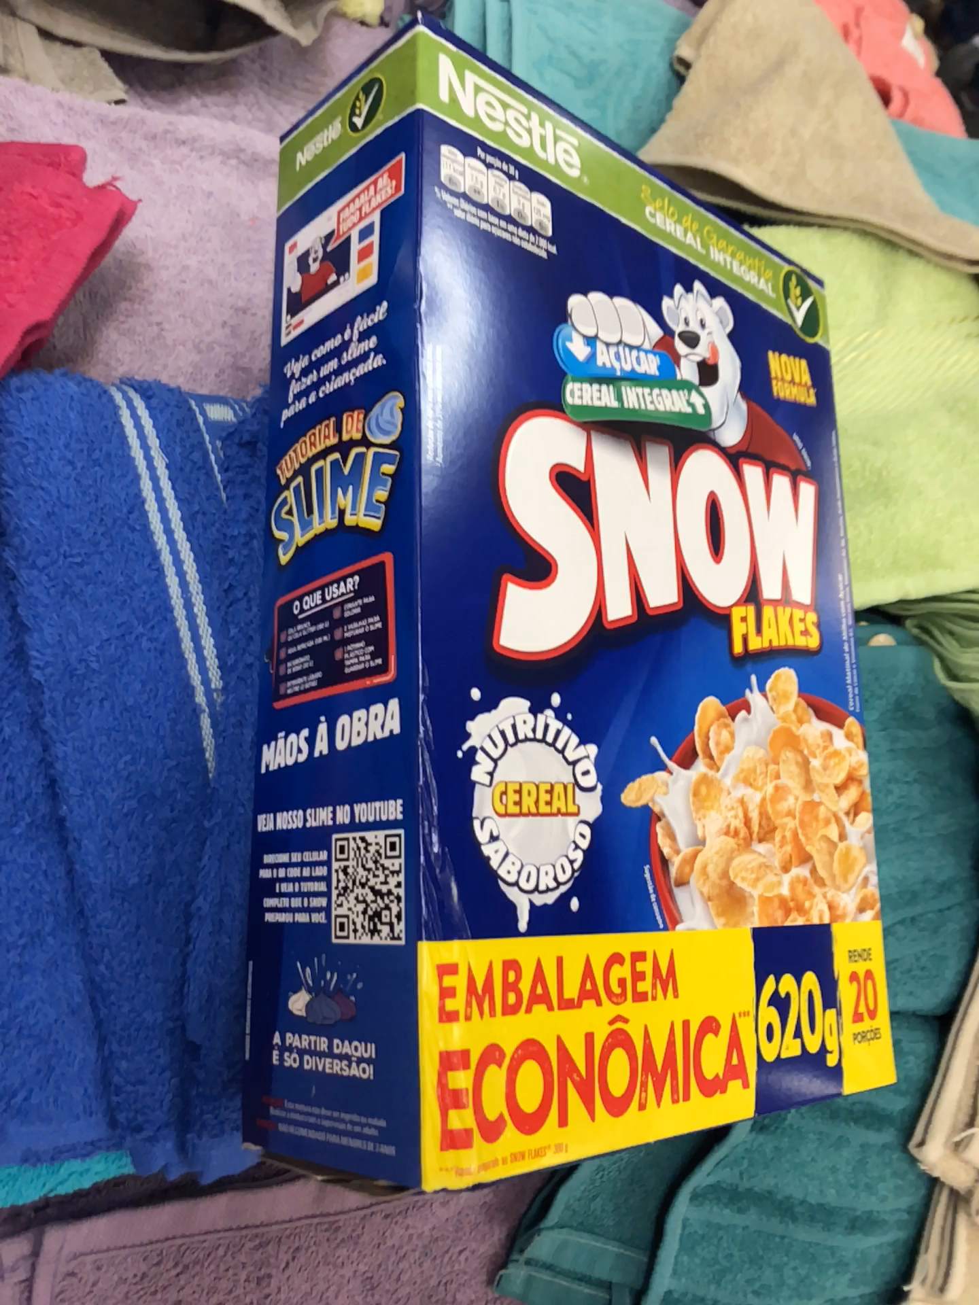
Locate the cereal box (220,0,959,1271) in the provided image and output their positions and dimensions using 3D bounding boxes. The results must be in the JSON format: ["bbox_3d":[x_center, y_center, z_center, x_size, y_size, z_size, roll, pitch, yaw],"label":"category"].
[{"bbox_3d":[0.041,-0.007,0.337,0.221,0.070,0.300,11,72,-39],"label":"cereal box"}]
